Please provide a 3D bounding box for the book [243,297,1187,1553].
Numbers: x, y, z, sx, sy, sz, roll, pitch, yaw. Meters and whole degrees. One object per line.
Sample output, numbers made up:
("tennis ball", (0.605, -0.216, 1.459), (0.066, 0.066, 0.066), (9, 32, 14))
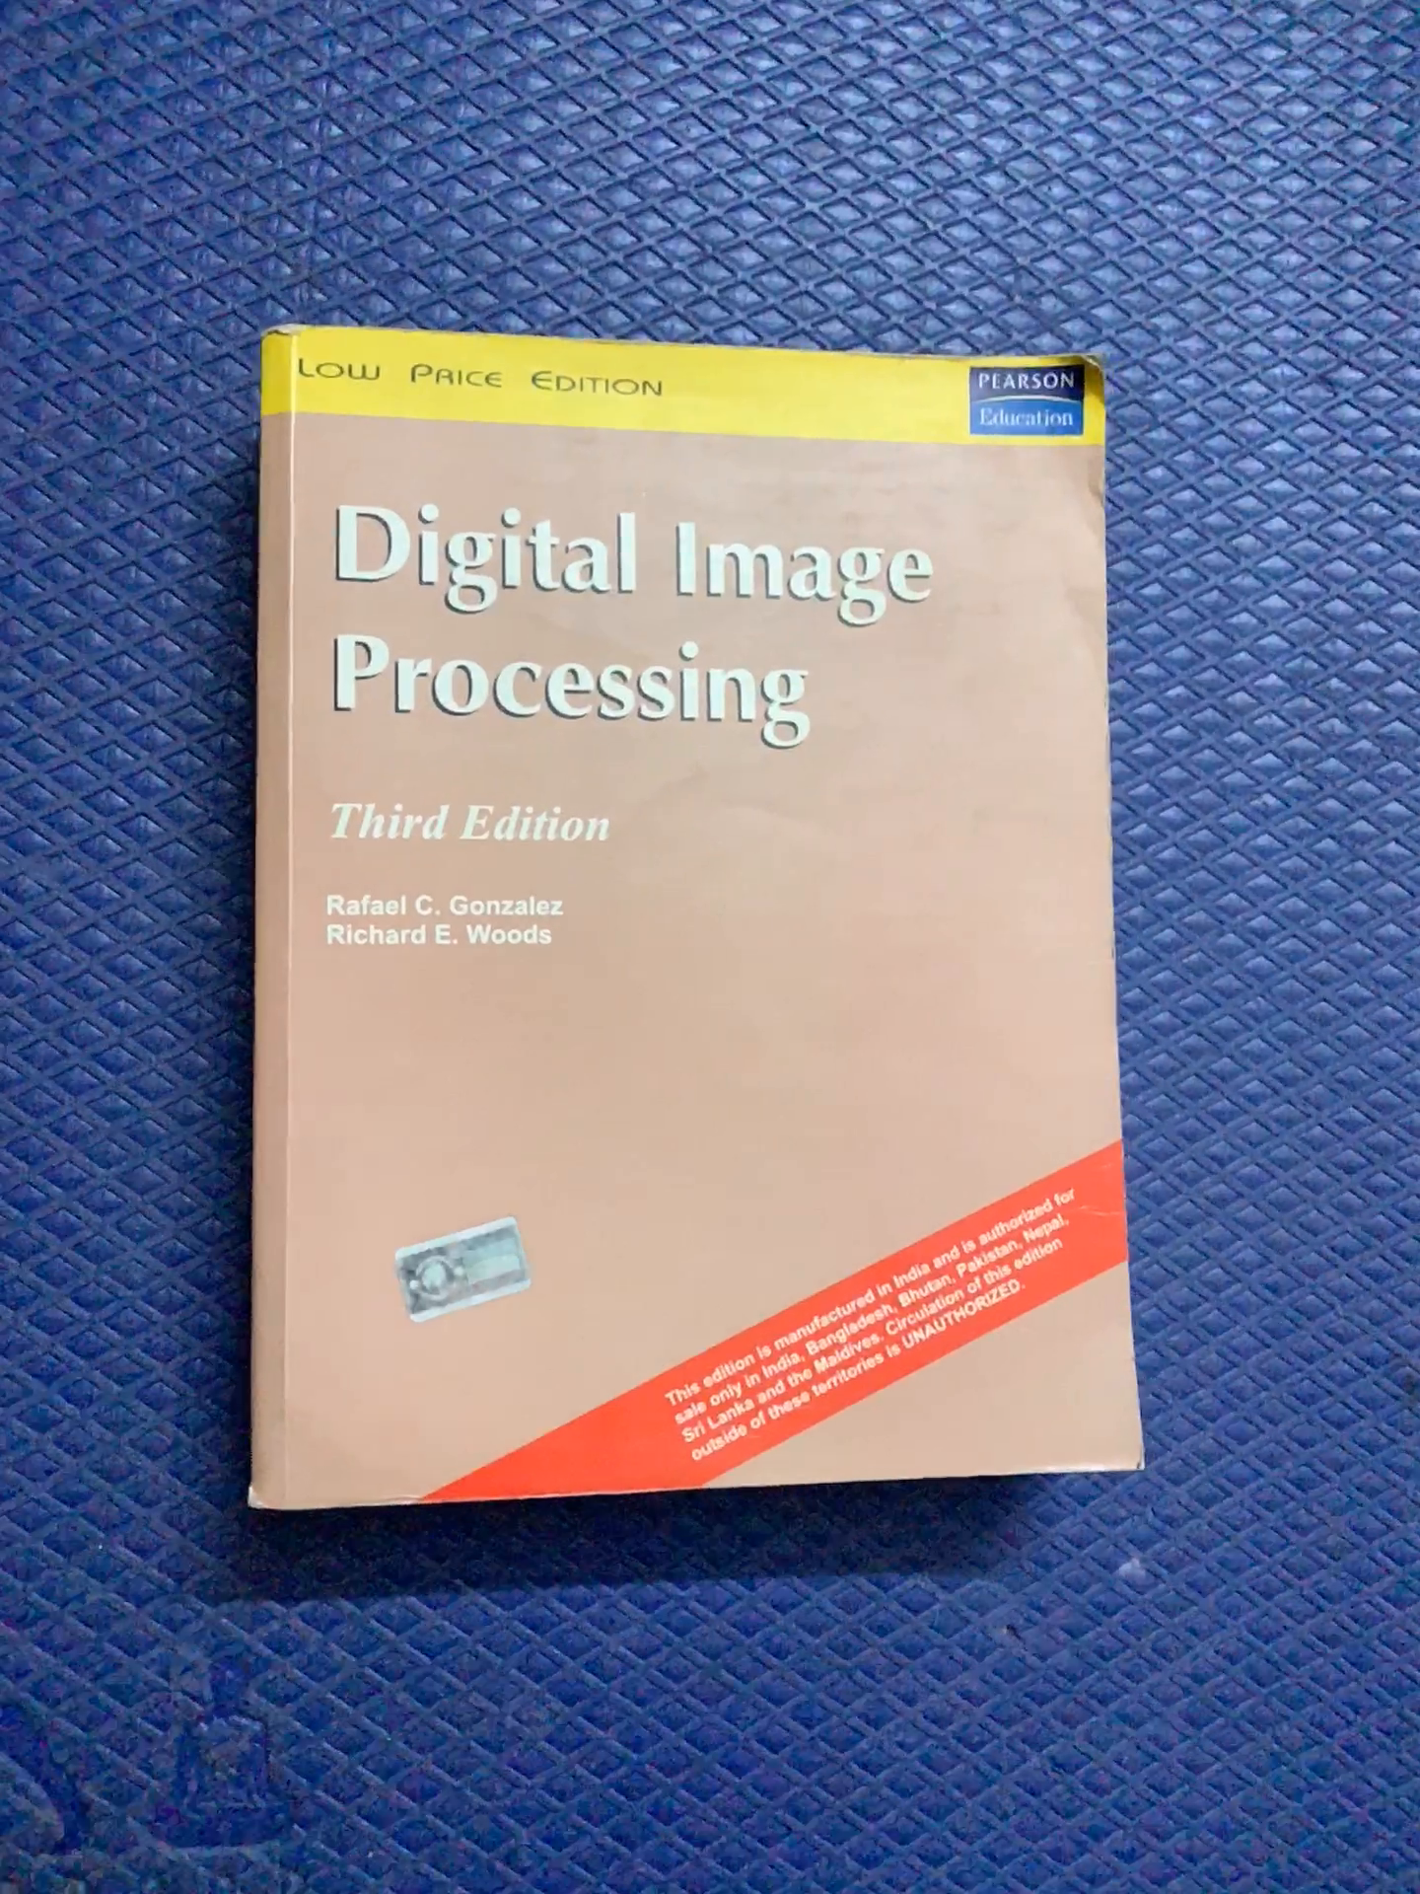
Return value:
("book", (0.001, -0.006, 0.298), (0.174, 0.045, 0.225), (0, 85, -10))
